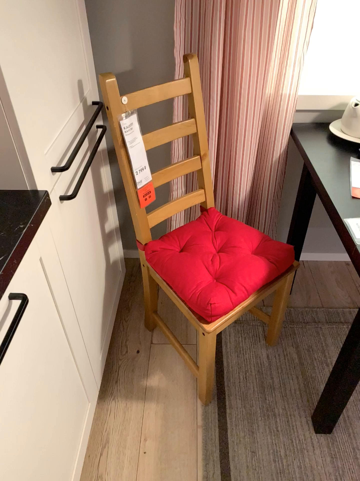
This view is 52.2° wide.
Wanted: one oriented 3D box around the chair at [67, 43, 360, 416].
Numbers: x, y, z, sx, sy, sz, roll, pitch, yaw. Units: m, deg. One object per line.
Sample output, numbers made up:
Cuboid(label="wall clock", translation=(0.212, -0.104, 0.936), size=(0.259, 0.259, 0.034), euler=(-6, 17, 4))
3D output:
Cuboid(label="chair", translation=(0.087, -0.021, 1.257), size=(0.502, 1.014, 0.581), euler=(-31, 49, -31))
